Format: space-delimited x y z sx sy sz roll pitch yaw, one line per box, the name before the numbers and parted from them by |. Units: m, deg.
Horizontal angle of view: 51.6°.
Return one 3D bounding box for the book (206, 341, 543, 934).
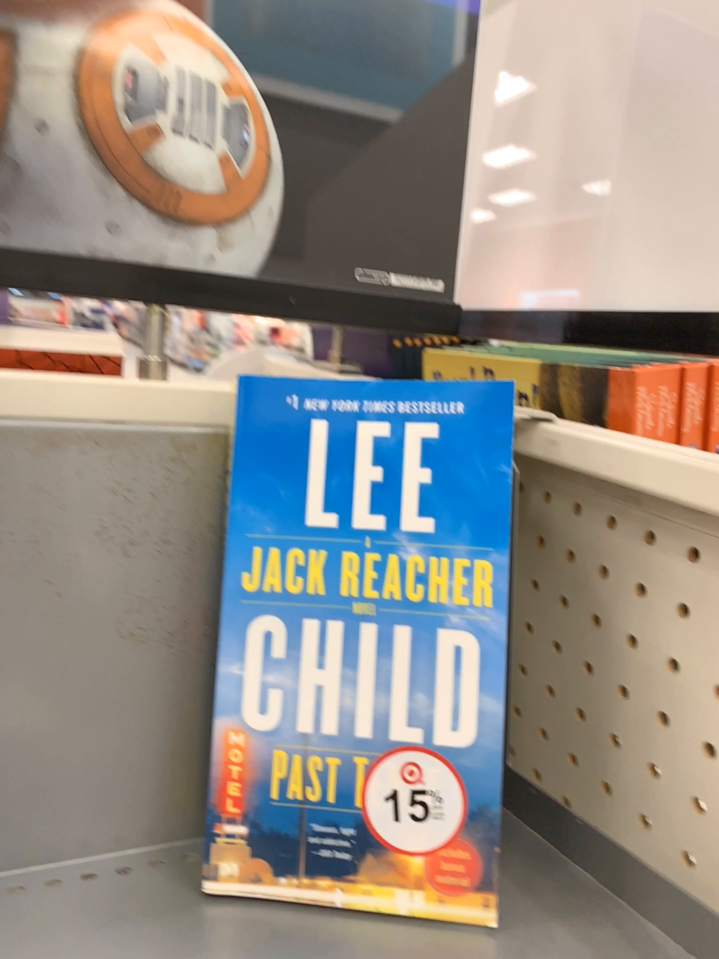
book | 0.003 0.057 0.301 0.110 0.197 0.080 5 -7 -10
